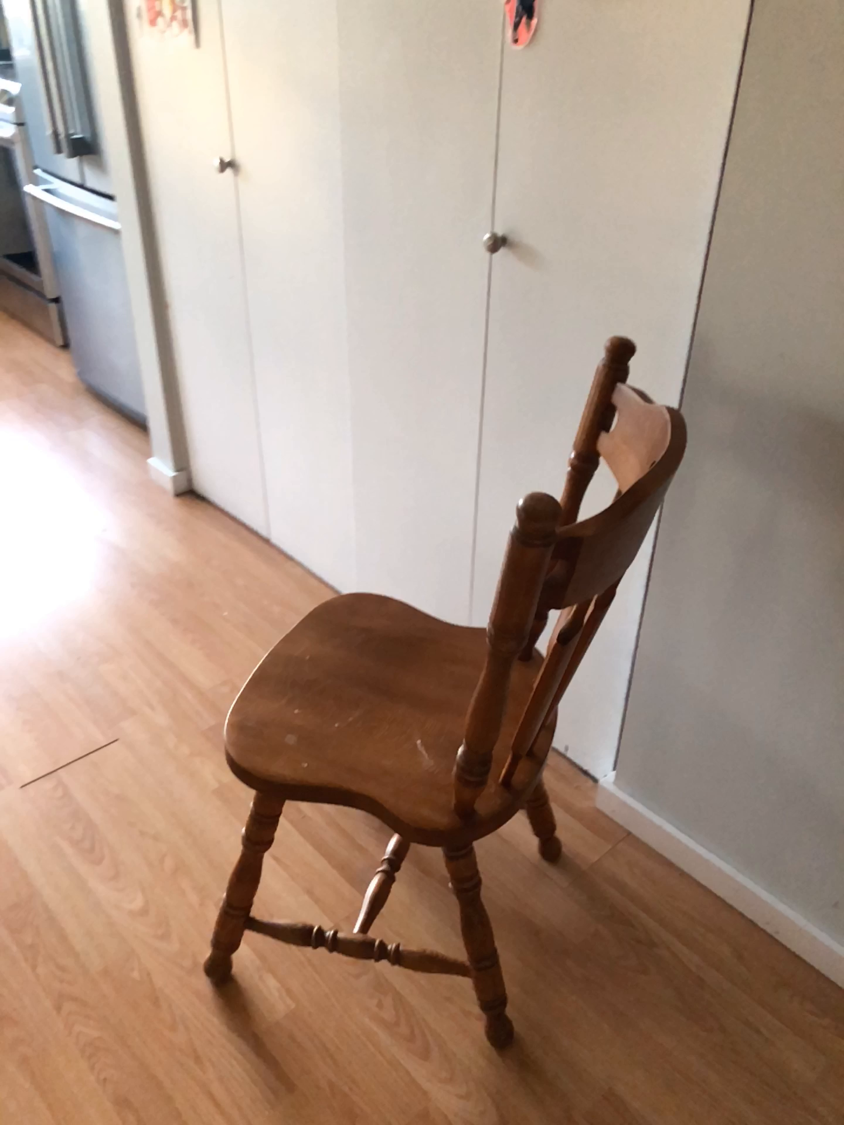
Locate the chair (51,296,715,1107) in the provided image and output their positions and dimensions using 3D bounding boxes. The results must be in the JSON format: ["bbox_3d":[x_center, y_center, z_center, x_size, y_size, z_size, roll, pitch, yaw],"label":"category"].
[{"bbox_3d":[0.001,0.155,1.268,0.590,0.817,0.562,11,34,15],"label":"chair"}]
